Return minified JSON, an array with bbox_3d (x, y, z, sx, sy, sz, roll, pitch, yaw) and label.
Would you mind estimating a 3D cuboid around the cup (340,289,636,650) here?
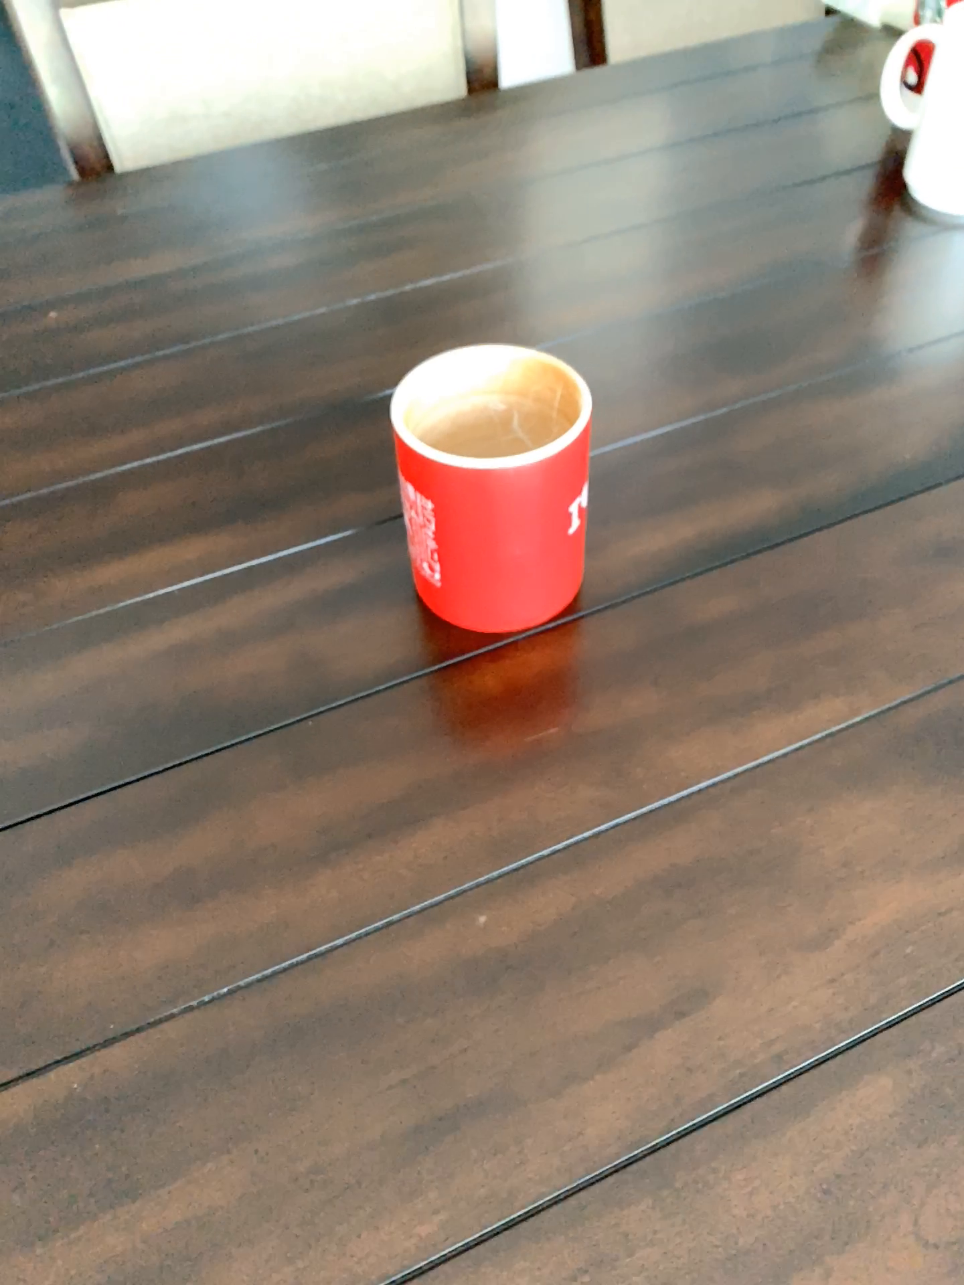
[{"bbox_3d":[-0.002,-0.083,0.457,0.100,0.080,0.141,-10,48,-6],"label":"cup"}]
